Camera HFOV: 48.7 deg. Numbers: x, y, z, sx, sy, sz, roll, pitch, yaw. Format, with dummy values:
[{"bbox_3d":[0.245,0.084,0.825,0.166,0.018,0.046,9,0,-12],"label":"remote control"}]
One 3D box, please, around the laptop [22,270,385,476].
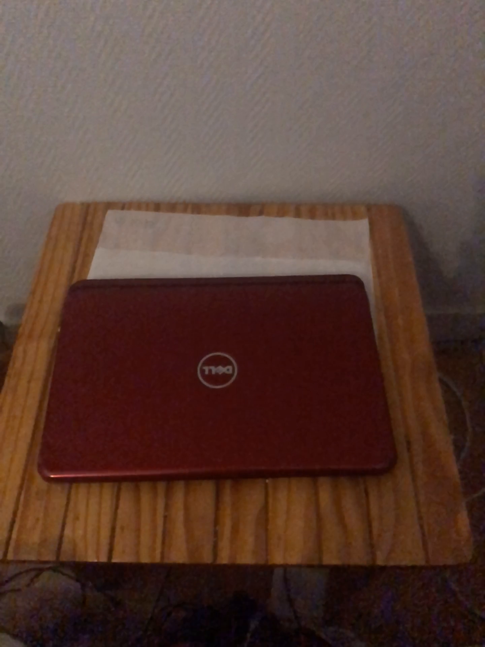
[{"bbox_3d":[-0.041,0.044,0.610,0.365,0.011,0.247,-1,58,-1],"label":"laptop"}]
